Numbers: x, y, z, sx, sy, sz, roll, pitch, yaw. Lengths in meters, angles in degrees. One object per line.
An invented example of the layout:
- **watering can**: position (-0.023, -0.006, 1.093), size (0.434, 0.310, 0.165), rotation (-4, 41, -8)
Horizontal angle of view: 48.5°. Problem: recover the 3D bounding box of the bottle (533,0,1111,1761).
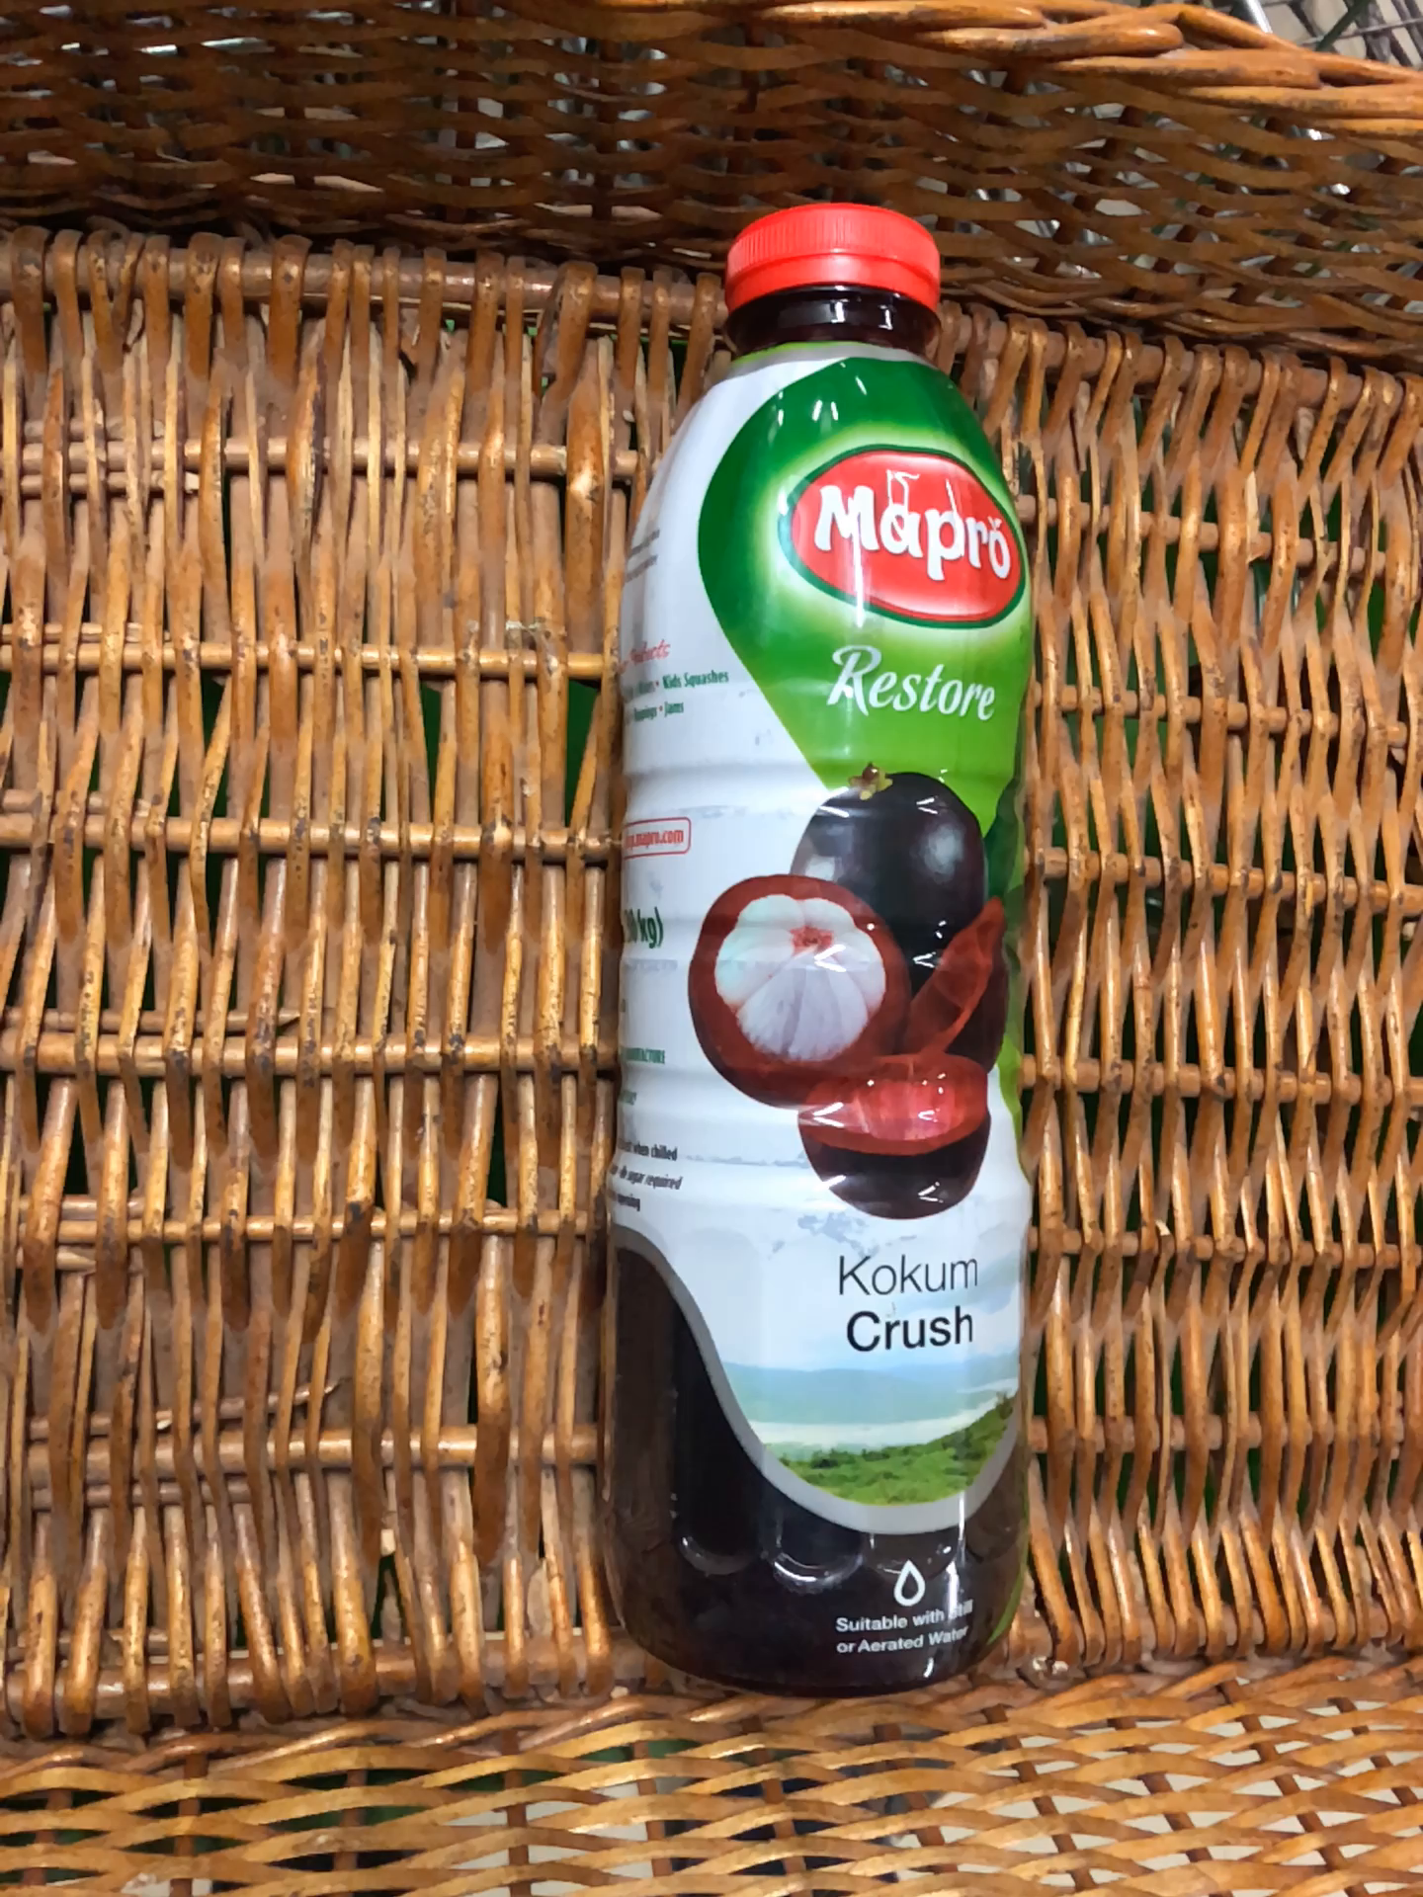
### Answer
- **bottle**: position (0.015, -0.016, 0.281), size (0.080, 0.080, 0.270), rotation (1, 88, -14)
